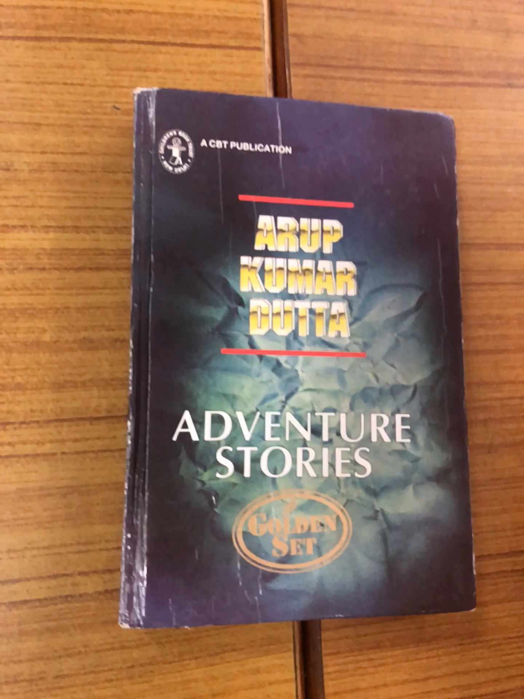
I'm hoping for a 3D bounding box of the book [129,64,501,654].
[{"bbox_3d":[0.020,0.001,0.249,0.145,0.036,0.218,1,85,-11],"label":"book"}]
